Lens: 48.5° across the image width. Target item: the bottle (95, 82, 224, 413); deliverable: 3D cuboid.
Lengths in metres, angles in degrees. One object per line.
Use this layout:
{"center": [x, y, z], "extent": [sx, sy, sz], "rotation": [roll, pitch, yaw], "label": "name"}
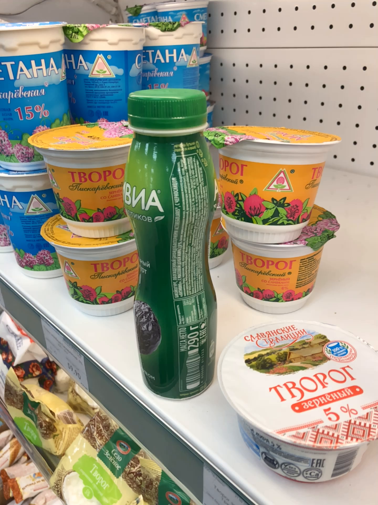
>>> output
{"center": [-0.013, 0.003, 0.247], "extent": [0.054, 0.185, 0.050], "rotation": [-2, 27, 1], "label": "bottle"}
